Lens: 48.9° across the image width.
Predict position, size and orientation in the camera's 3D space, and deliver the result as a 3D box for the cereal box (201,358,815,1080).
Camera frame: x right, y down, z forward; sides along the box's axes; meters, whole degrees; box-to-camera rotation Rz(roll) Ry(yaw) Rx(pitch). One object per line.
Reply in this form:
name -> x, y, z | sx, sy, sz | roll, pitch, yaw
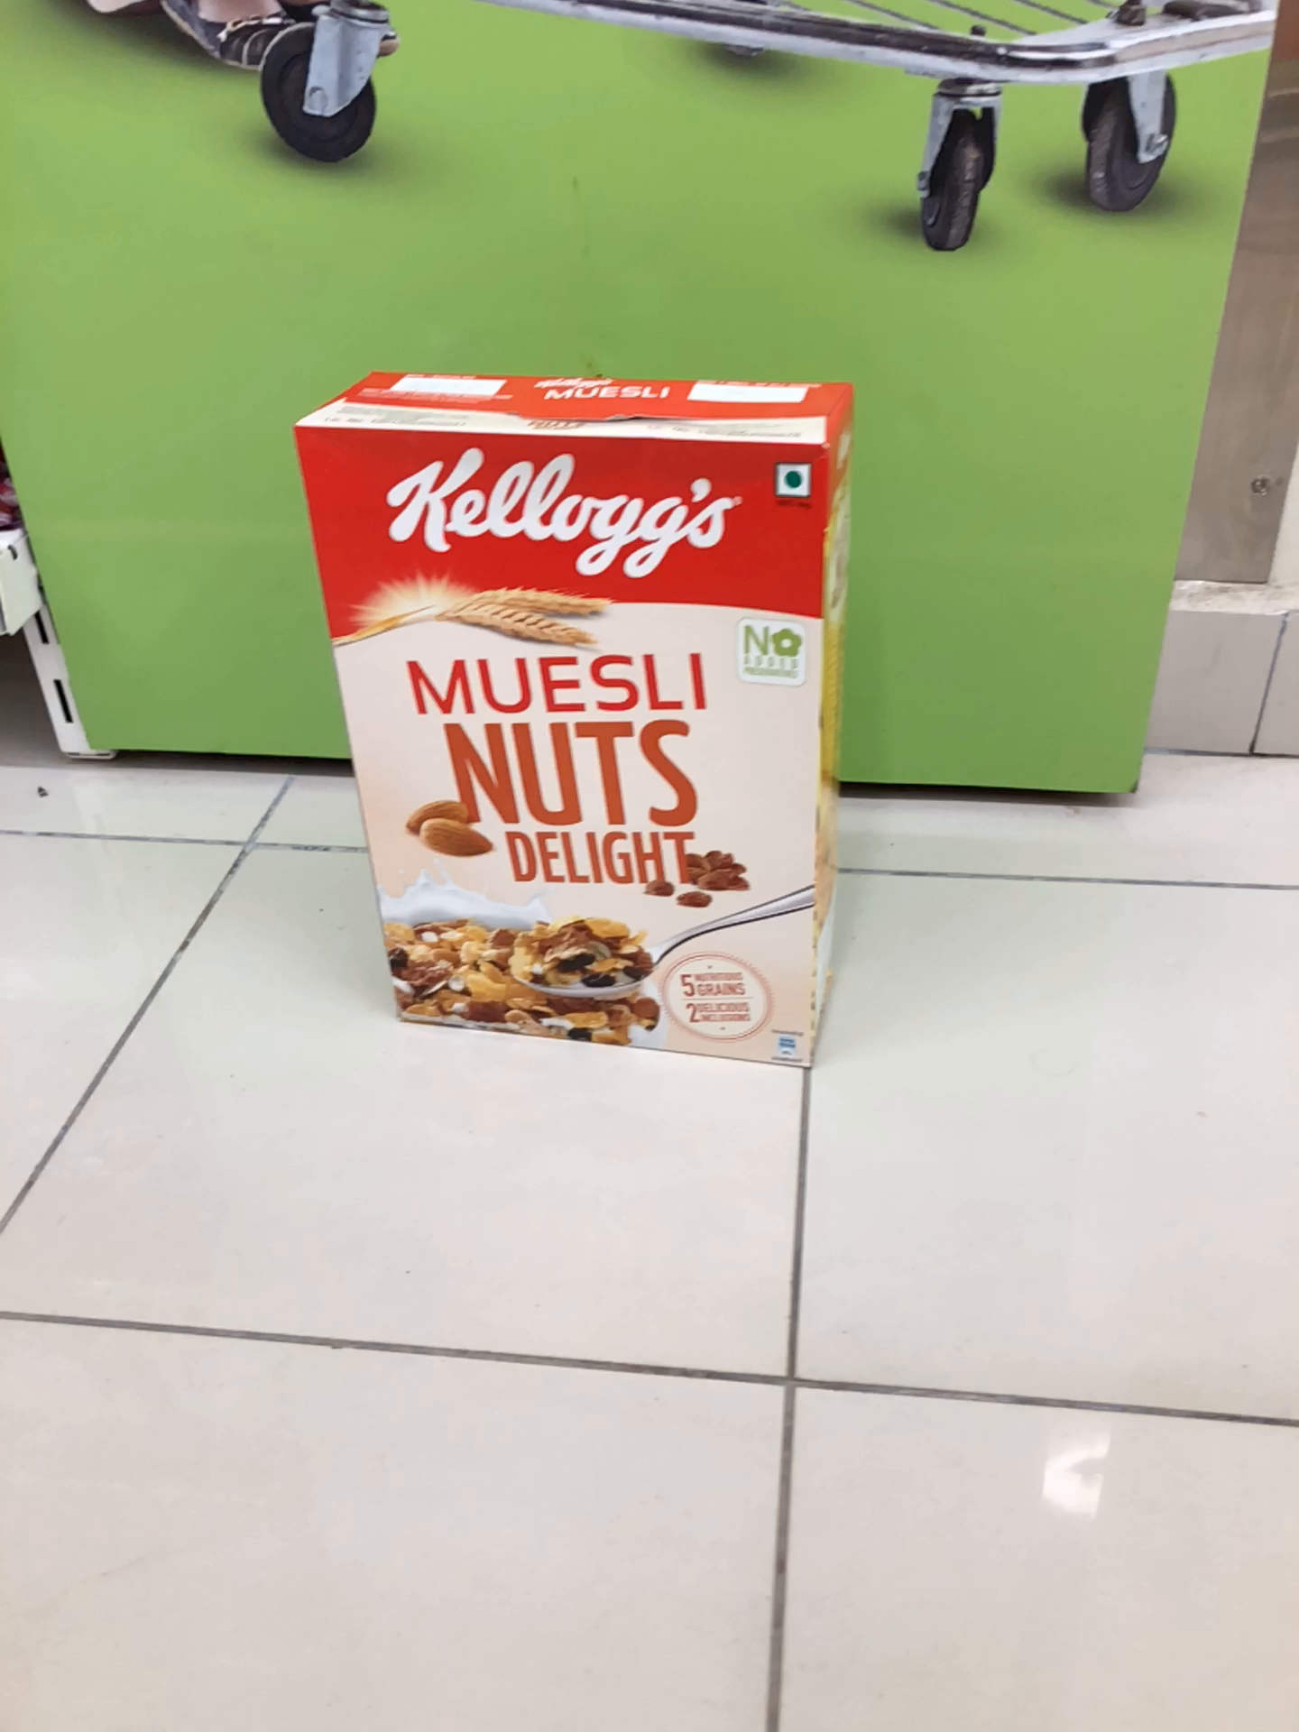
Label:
cereal box -> -0.042, -0.053, 0.573 | 0.200, 0.268, 0.081 | 5, 34, 9
